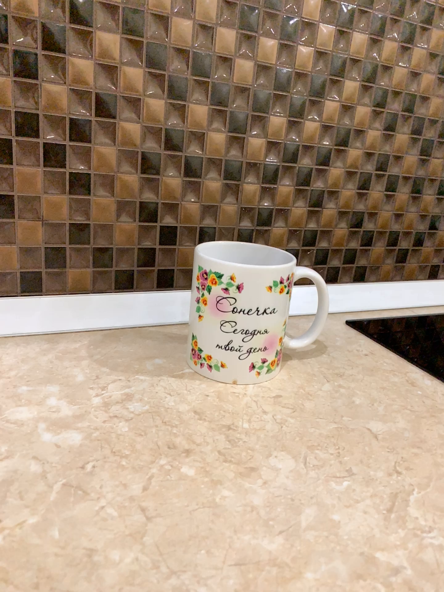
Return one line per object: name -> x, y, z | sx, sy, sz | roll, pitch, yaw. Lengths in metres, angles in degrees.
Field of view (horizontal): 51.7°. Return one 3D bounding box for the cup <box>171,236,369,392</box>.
cup -> 0.033, 0.008, 0.375 | 0.123, 0.093, 0.091 | -1, 20, -20
